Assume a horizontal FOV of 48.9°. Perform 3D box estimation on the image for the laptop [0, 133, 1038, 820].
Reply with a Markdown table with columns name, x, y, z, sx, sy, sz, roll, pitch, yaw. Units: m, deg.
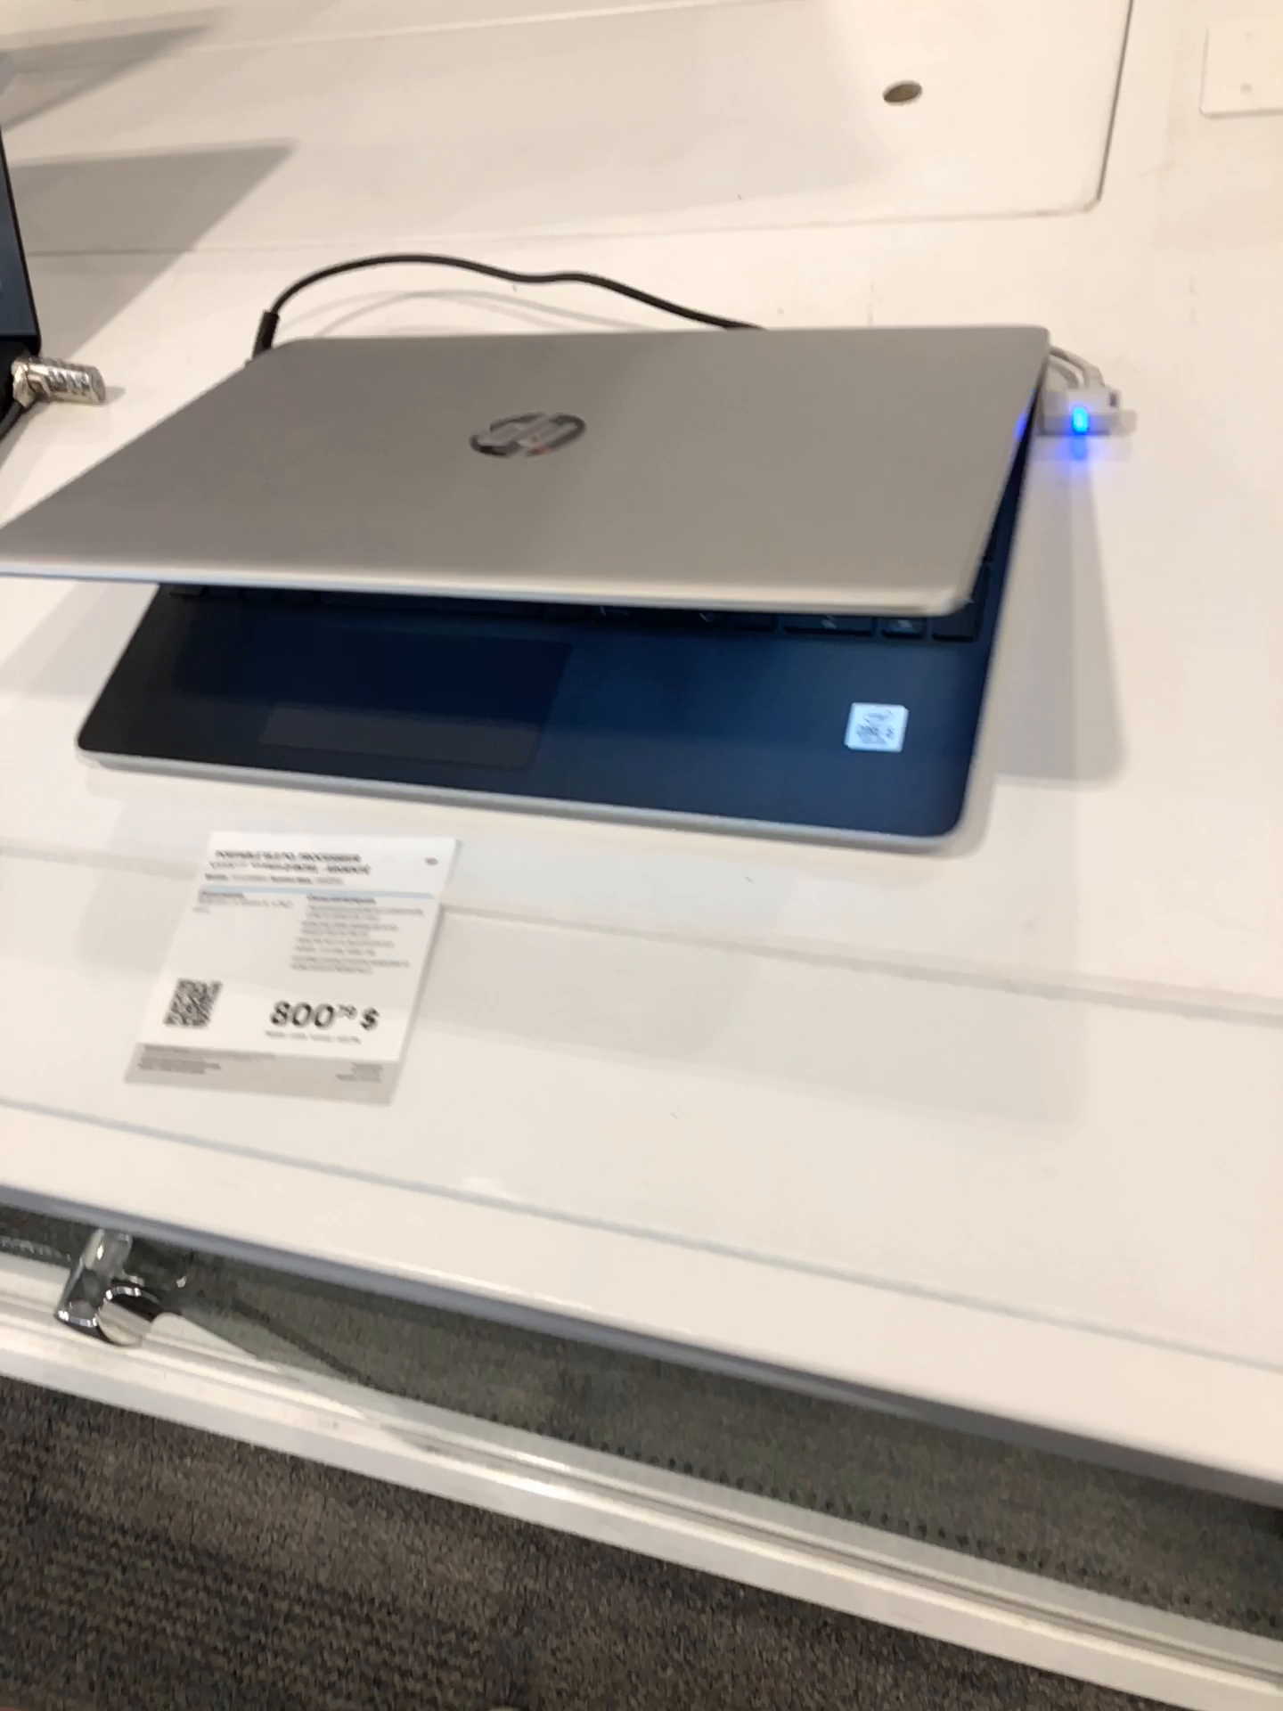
| name | x | y | z | sx | sy | sz | roll | pitch | yaw |
| --- | --- | --- | --- | --- | --- | --- | --- | --- | --- |
| laptop | -0.043 | -0.149 | 0.528 | 0.342 | 0.086 | 0.229 | 7 | 60 | 21 |
